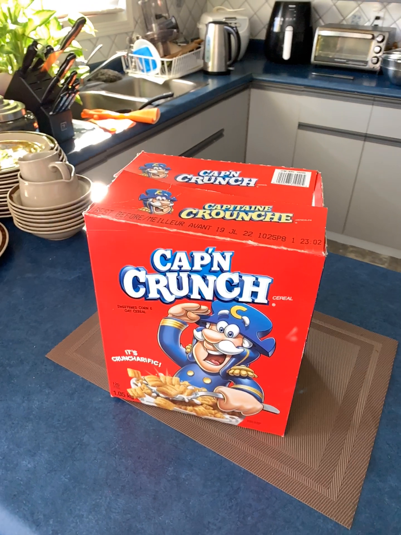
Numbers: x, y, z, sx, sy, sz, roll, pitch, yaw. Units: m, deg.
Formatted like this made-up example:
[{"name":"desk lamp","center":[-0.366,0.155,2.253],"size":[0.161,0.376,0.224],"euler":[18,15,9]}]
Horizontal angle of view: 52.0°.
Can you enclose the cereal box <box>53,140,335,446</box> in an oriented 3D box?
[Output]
[{"name":"cereal box","center":[0.011,0.024,0.548],"size":[0.270,0.297,0.212],"euler":[9,36,12]}]
